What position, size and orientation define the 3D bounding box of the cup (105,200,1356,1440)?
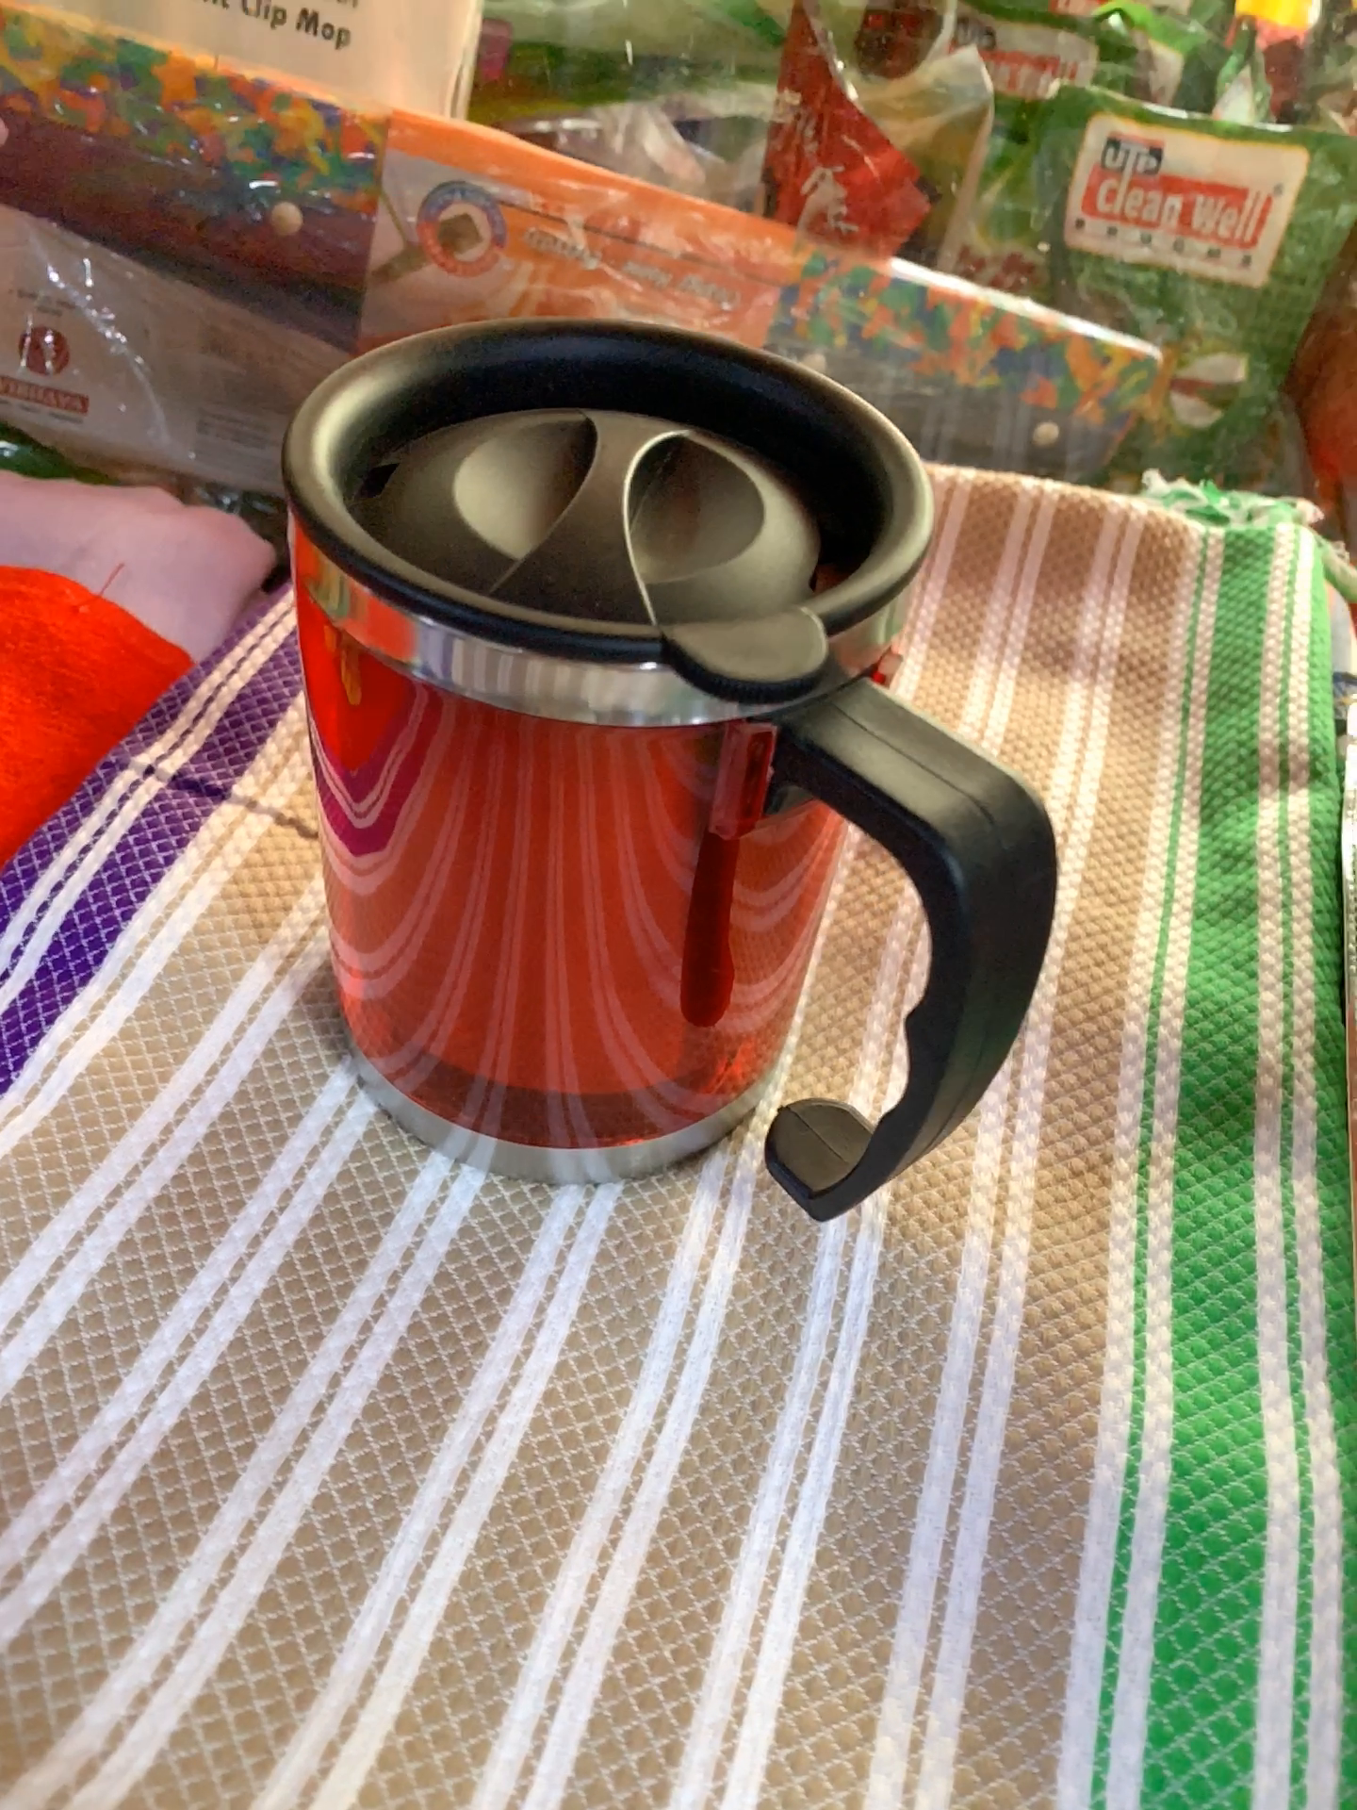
[{"bbox_3d":[0.002,-0.023,0.211,0.100,0.103,0.130,-31,56,-35],"label":"cup"}]
